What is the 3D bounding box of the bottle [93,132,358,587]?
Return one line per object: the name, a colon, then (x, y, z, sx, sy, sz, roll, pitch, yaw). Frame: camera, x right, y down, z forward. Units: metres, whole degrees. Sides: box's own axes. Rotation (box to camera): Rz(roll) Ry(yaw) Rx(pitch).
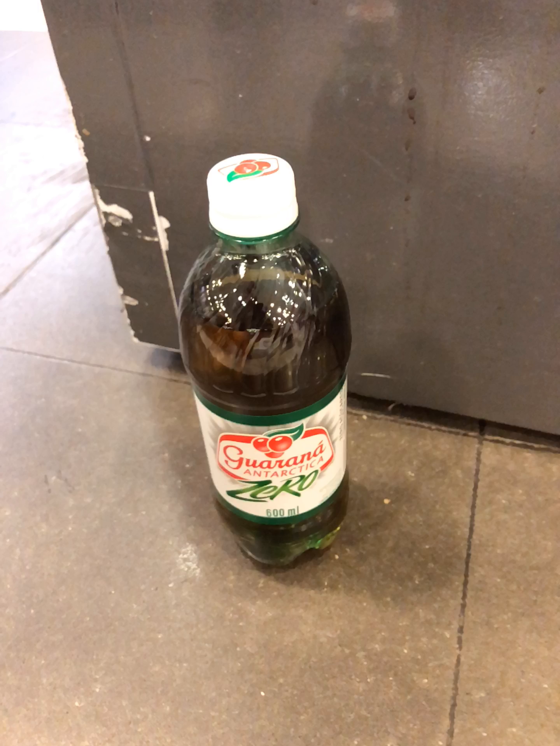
bottle: (-0.009, 0.009, 0.283, 0.080, 0.209, 0.070, 2, 43, 6)
